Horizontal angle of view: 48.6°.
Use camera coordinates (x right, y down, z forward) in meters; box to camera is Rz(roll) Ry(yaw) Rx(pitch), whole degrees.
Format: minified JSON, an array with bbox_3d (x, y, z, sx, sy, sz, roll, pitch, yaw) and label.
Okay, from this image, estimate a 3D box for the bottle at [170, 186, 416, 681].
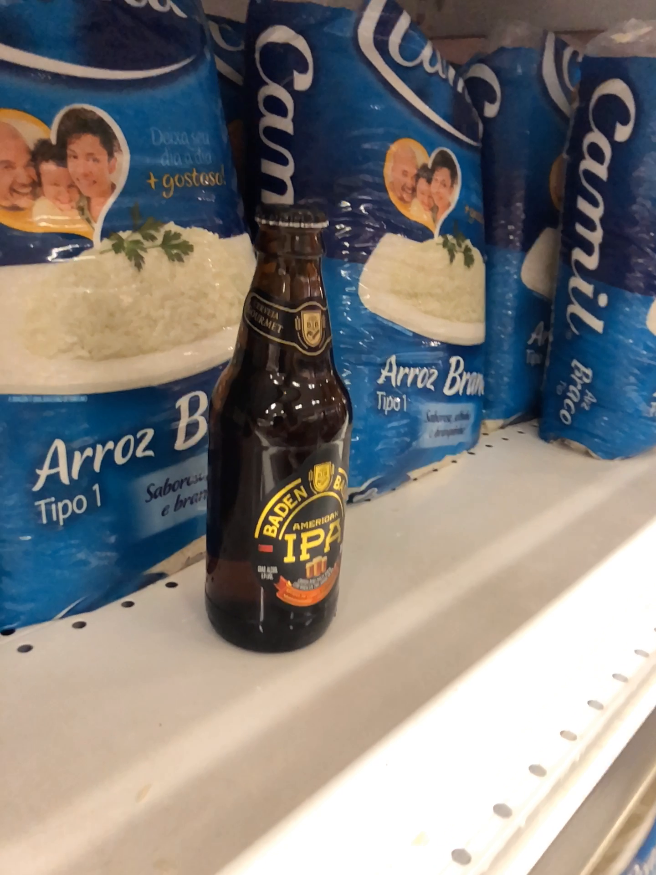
[{"bbox_3d":[-0.020,-0.004,0.310,0.070,0.189,0.060,-12,26,-38],"label":"bottle"}]
